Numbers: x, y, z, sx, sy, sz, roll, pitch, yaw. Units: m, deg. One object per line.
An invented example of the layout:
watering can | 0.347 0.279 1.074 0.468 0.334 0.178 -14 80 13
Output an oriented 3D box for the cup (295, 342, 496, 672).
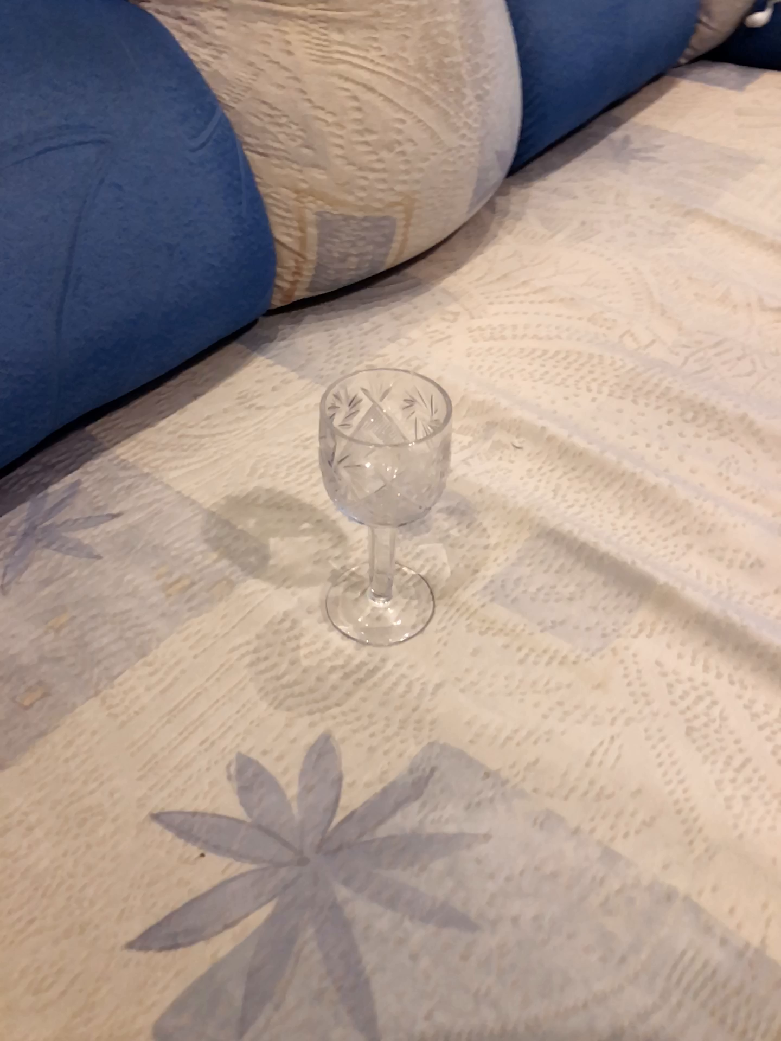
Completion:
cup | 0.000 -0.002 0.356 0.060 0.119 0.060 0 45 0
